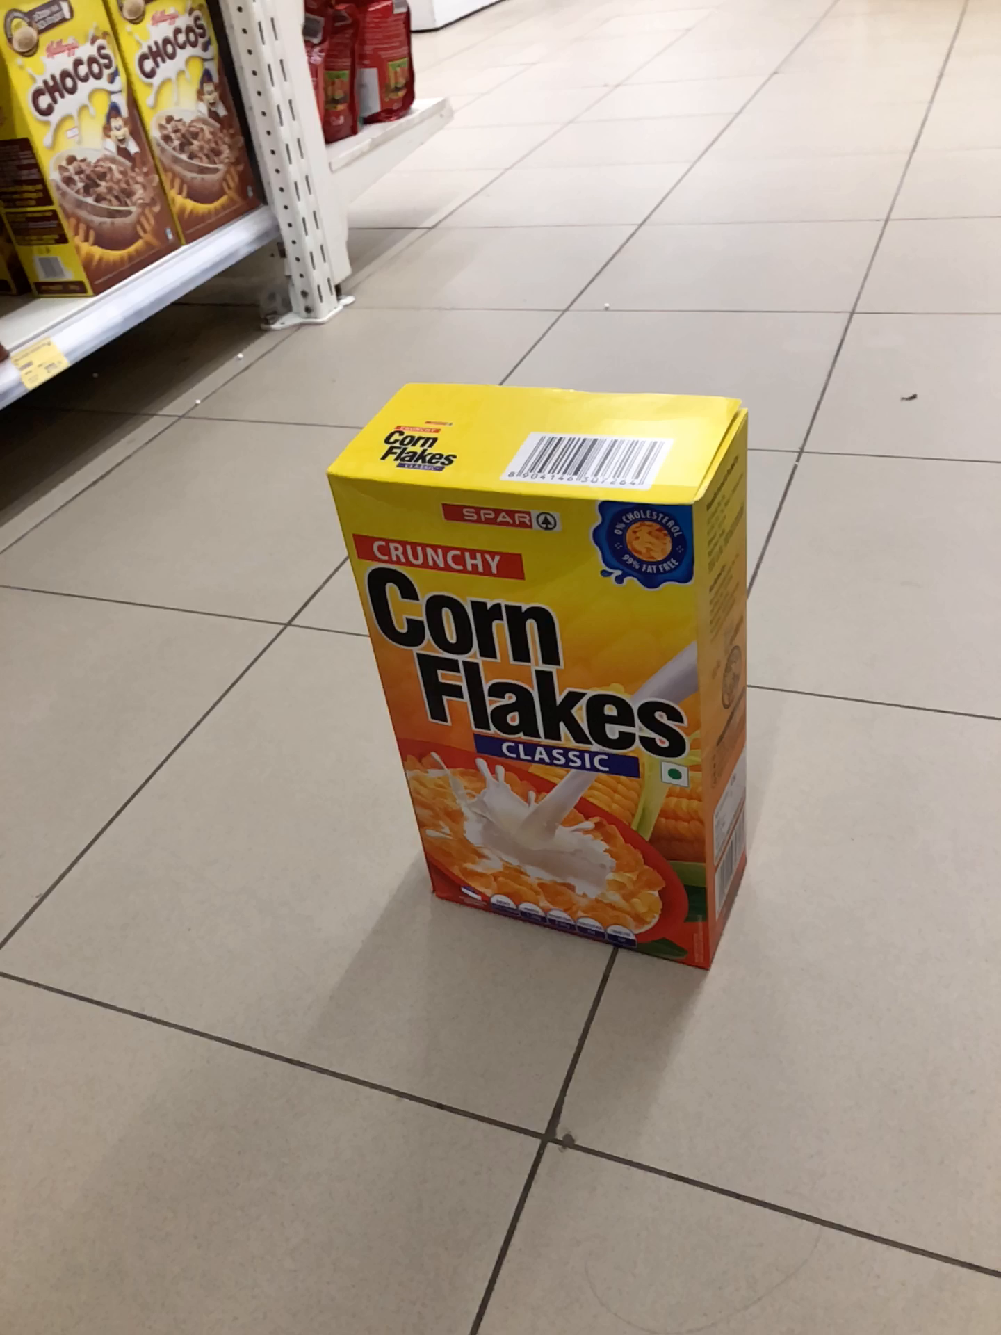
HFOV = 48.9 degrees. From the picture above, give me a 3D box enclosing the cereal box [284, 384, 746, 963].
[{"bbox_3d":[0.026,0.006,0.619,0.200,0.298,0.101,9,39,23],"label":"cereal box"}]
